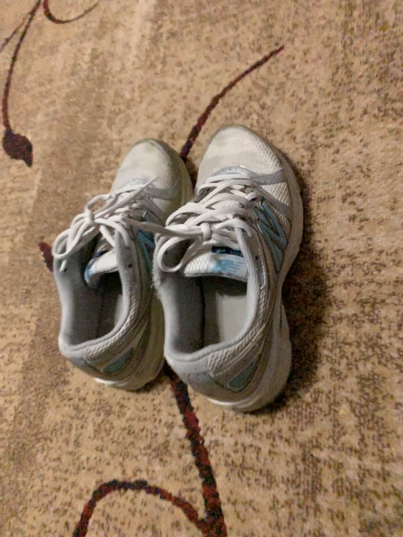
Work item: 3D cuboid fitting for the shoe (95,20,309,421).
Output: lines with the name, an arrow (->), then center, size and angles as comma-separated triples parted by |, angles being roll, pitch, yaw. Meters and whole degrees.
shoe -> 0.019, -0.032, 0.345 | 0.104, 0.124, 0.283 | -7, 66, 28

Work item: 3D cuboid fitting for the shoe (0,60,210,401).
shoe -> -0.084, -0.030, 0.404 | 0.111, 0.124, 0.283 | -5, 67, 29
